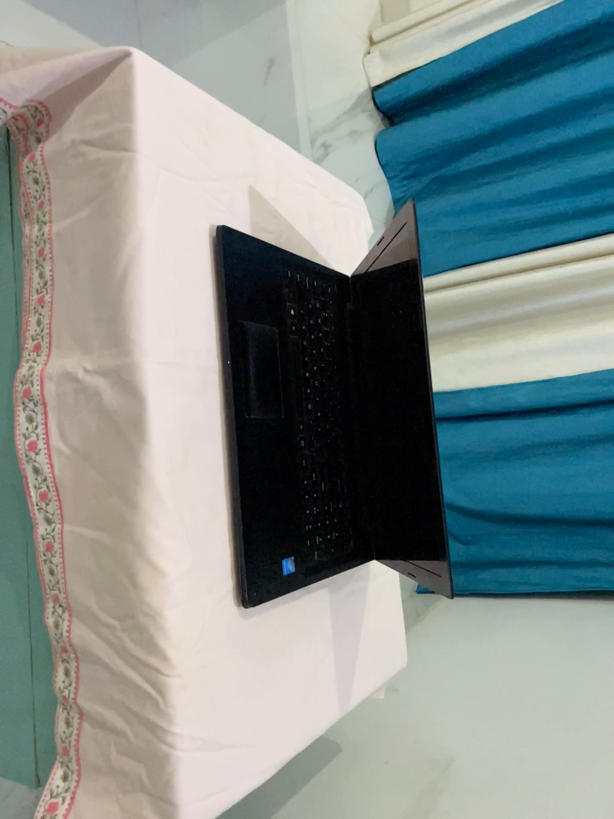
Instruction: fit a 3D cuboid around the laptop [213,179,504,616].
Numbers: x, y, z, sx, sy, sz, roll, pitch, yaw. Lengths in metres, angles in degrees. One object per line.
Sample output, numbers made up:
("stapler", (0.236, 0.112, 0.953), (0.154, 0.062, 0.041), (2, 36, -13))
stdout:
("laptop", (0.067, -0.003, 0.676), (0.260, 0.176, 0.368), (2, 83, -56))
